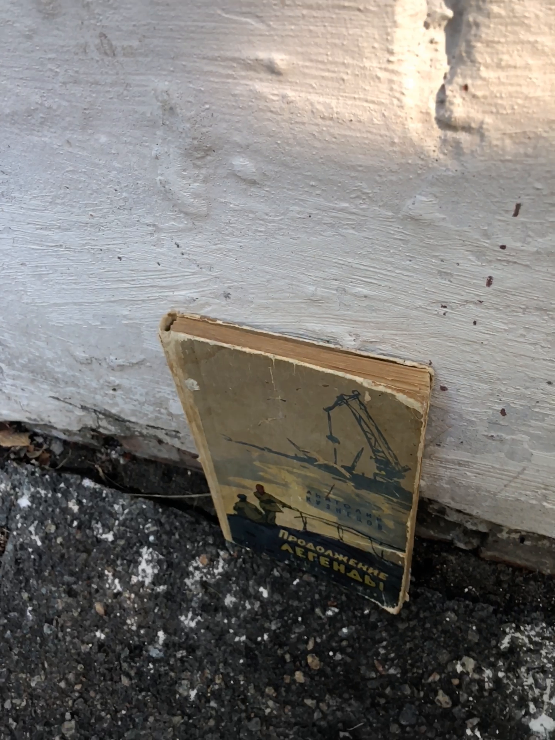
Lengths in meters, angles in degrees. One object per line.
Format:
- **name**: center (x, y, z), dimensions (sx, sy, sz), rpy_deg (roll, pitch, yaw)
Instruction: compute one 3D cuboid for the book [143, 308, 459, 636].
- **book**: center (0.011, 0.063, 0.330), dimensions (0.136, 0.181, 0.030), rpy_deg (15, 46, 19)
